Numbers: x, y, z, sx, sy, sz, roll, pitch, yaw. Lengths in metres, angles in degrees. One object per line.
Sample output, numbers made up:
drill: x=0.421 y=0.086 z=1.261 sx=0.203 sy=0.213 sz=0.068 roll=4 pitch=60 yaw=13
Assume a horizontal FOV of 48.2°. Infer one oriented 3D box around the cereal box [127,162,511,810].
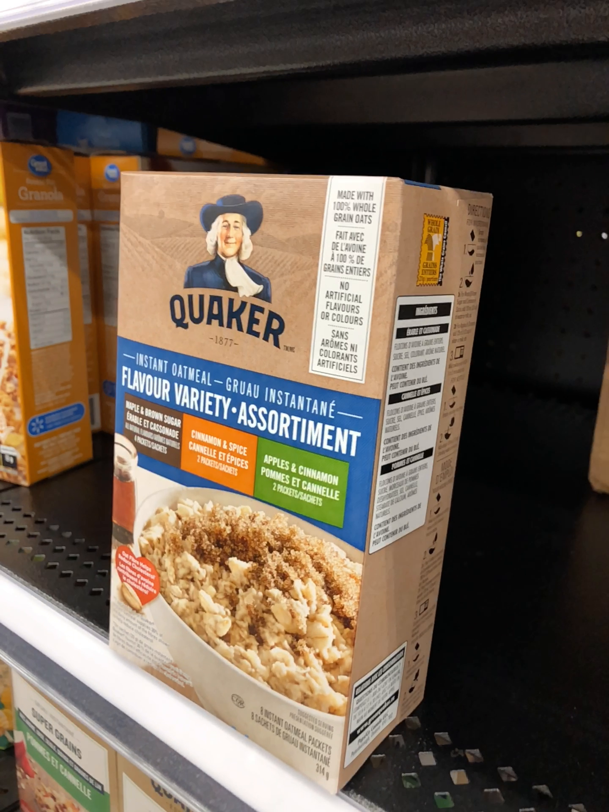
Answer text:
cereal box: x=-0.004 y=0.019 z=0.266 sx=0.120 sy=0.209 sz=0.060 roll=14 pitch=16 yaw=34
